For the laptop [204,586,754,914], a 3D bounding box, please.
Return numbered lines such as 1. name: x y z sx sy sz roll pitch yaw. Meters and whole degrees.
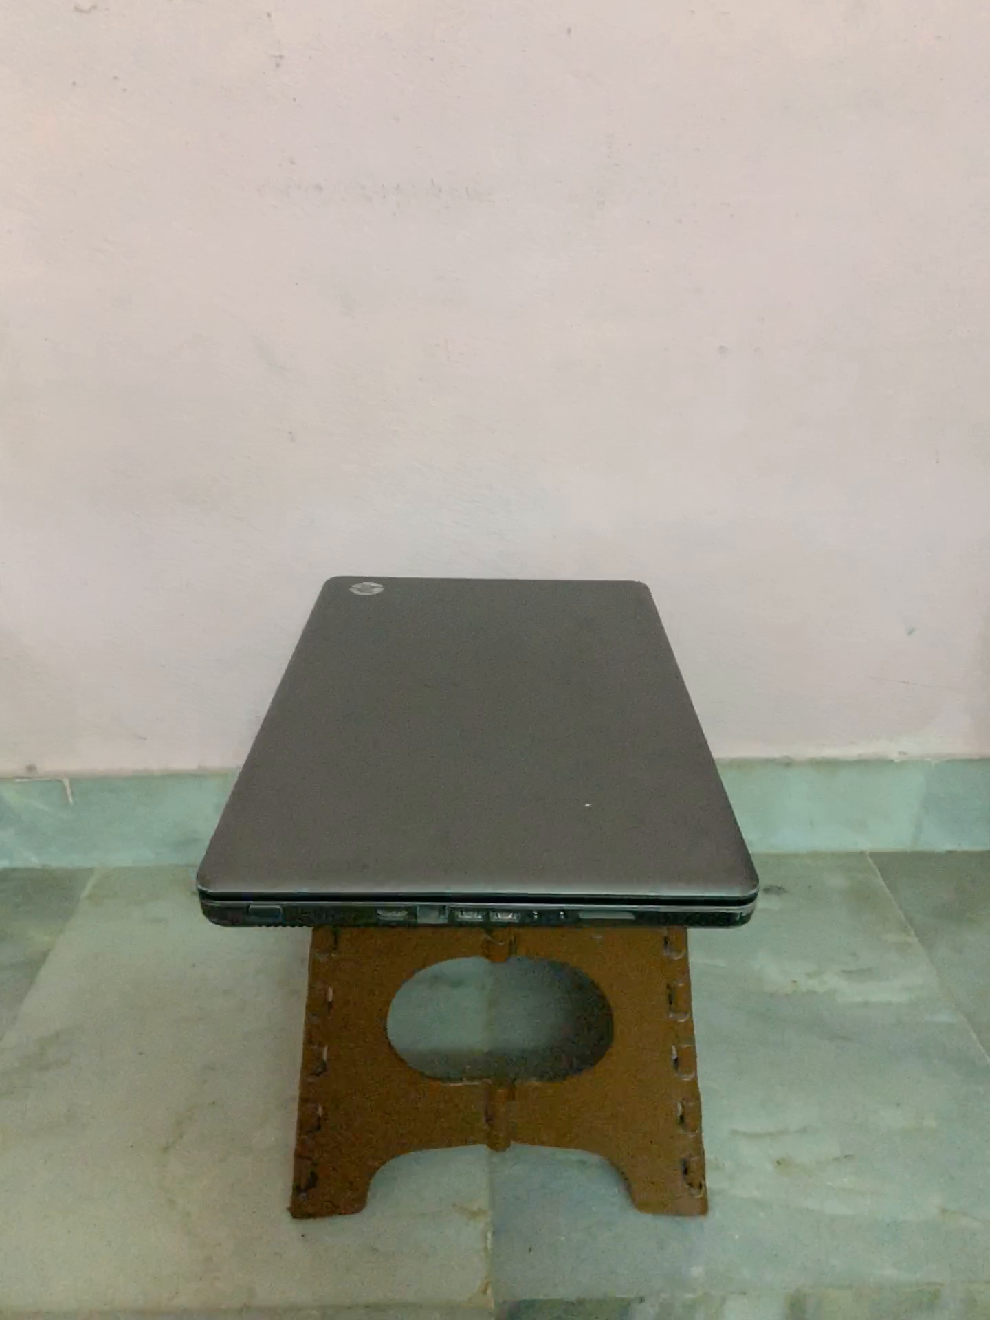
1. laptop: -0.006 0.027 0.617 0.242 0.003 0.381 1 26 0
